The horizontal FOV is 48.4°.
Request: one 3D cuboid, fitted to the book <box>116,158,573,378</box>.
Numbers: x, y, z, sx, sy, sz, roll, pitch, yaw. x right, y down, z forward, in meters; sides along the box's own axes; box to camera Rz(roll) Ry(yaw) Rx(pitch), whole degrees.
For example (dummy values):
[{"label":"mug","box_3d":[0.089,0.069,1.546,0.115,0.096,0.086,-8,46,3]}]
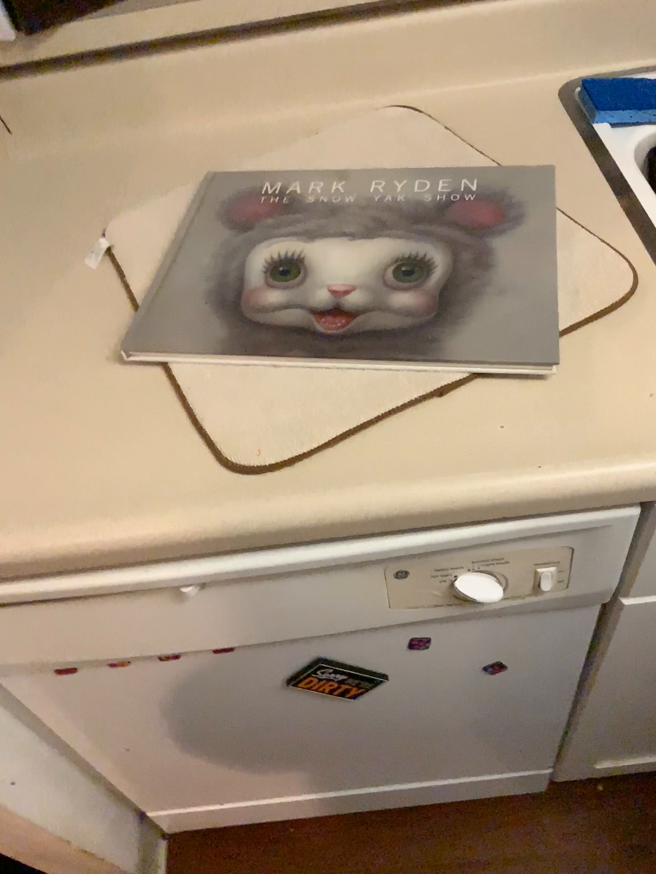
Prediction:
[{"label":"book","box_3d":[0.028,-0.174,0.693,0.380,0.020,0.290,3,51,12]}]
